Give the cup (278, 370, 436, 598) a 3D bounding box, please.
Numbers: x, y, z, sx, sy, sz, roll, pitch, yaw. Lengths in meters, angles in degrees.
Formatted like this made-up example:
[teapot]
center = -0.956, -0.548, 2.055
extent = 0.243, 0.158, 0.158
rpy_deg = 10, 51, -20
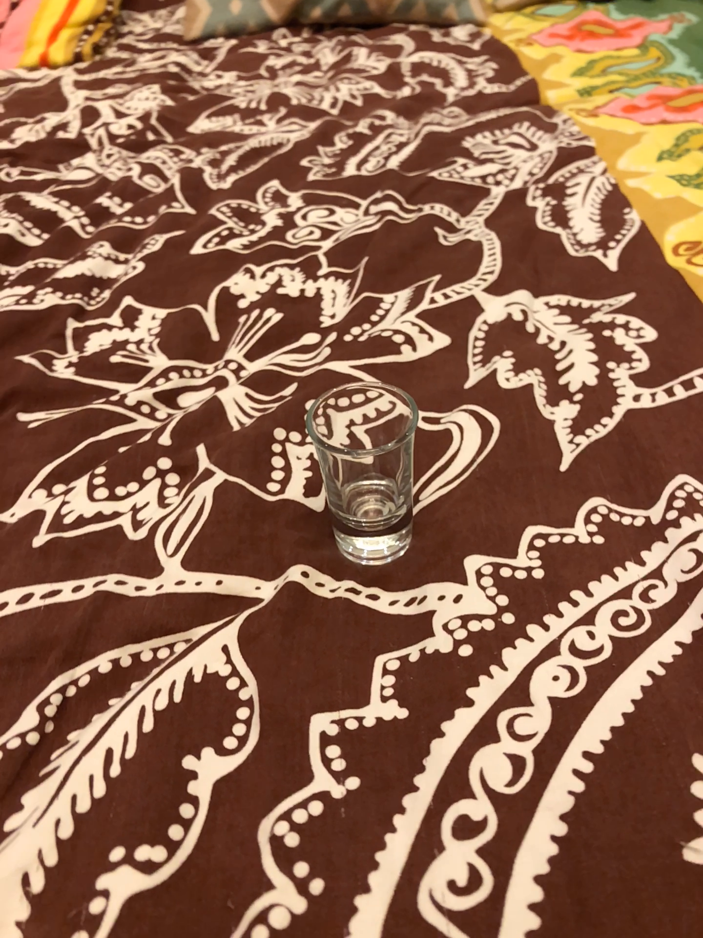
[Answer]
[cup]
center = 0.004, 0.006, 0.312
extent = 0.042, 0.070, 0.045
rpy_deg = -1, 43, 1
